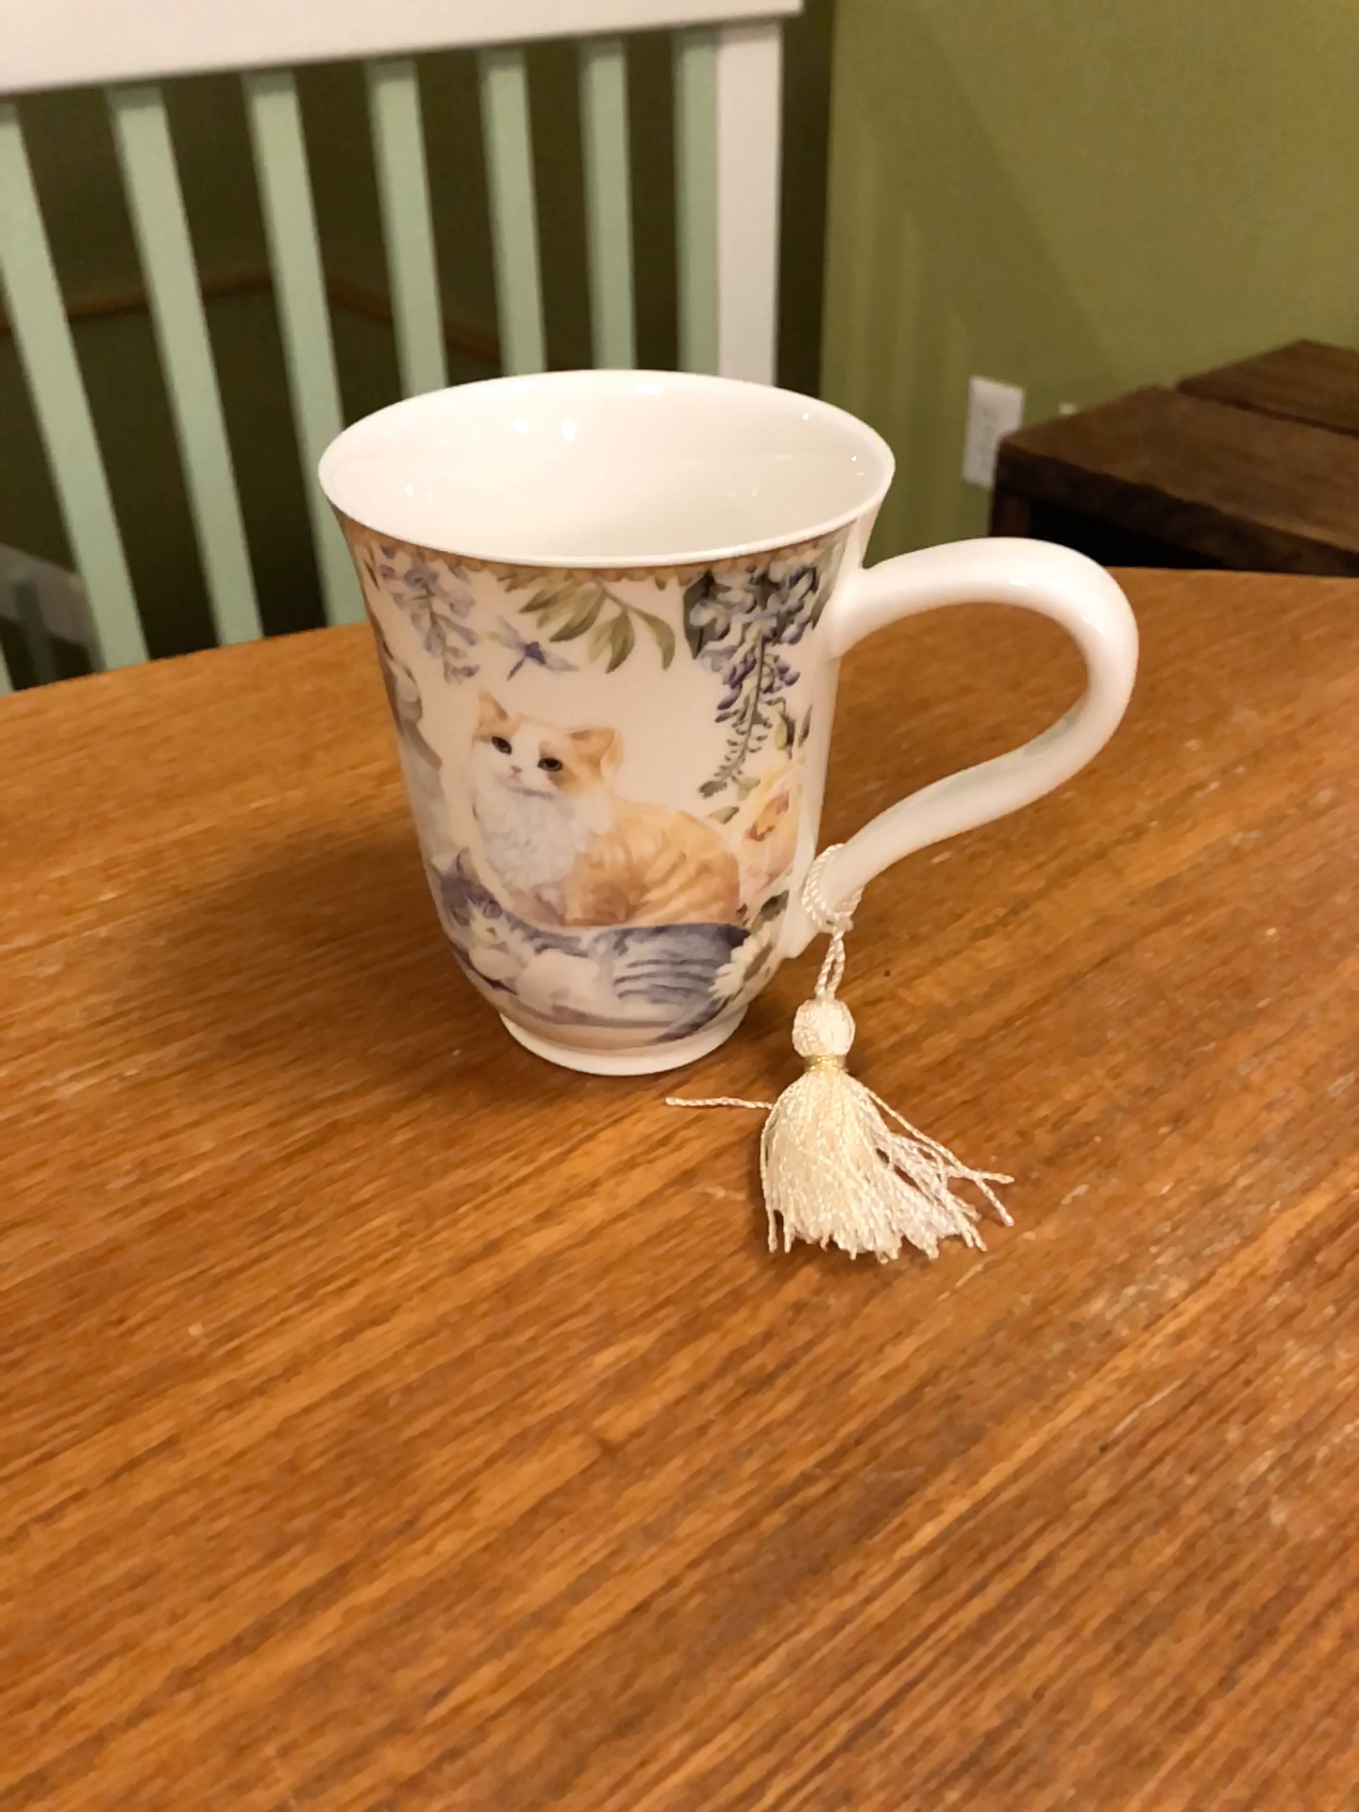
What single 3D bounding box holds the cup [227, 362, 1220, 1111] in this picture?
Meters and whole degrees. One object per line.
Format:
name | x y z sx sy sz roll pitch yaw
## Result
cup | 0.010 -0.035 0.269 0.135 0.092 0.095 3 35 6
